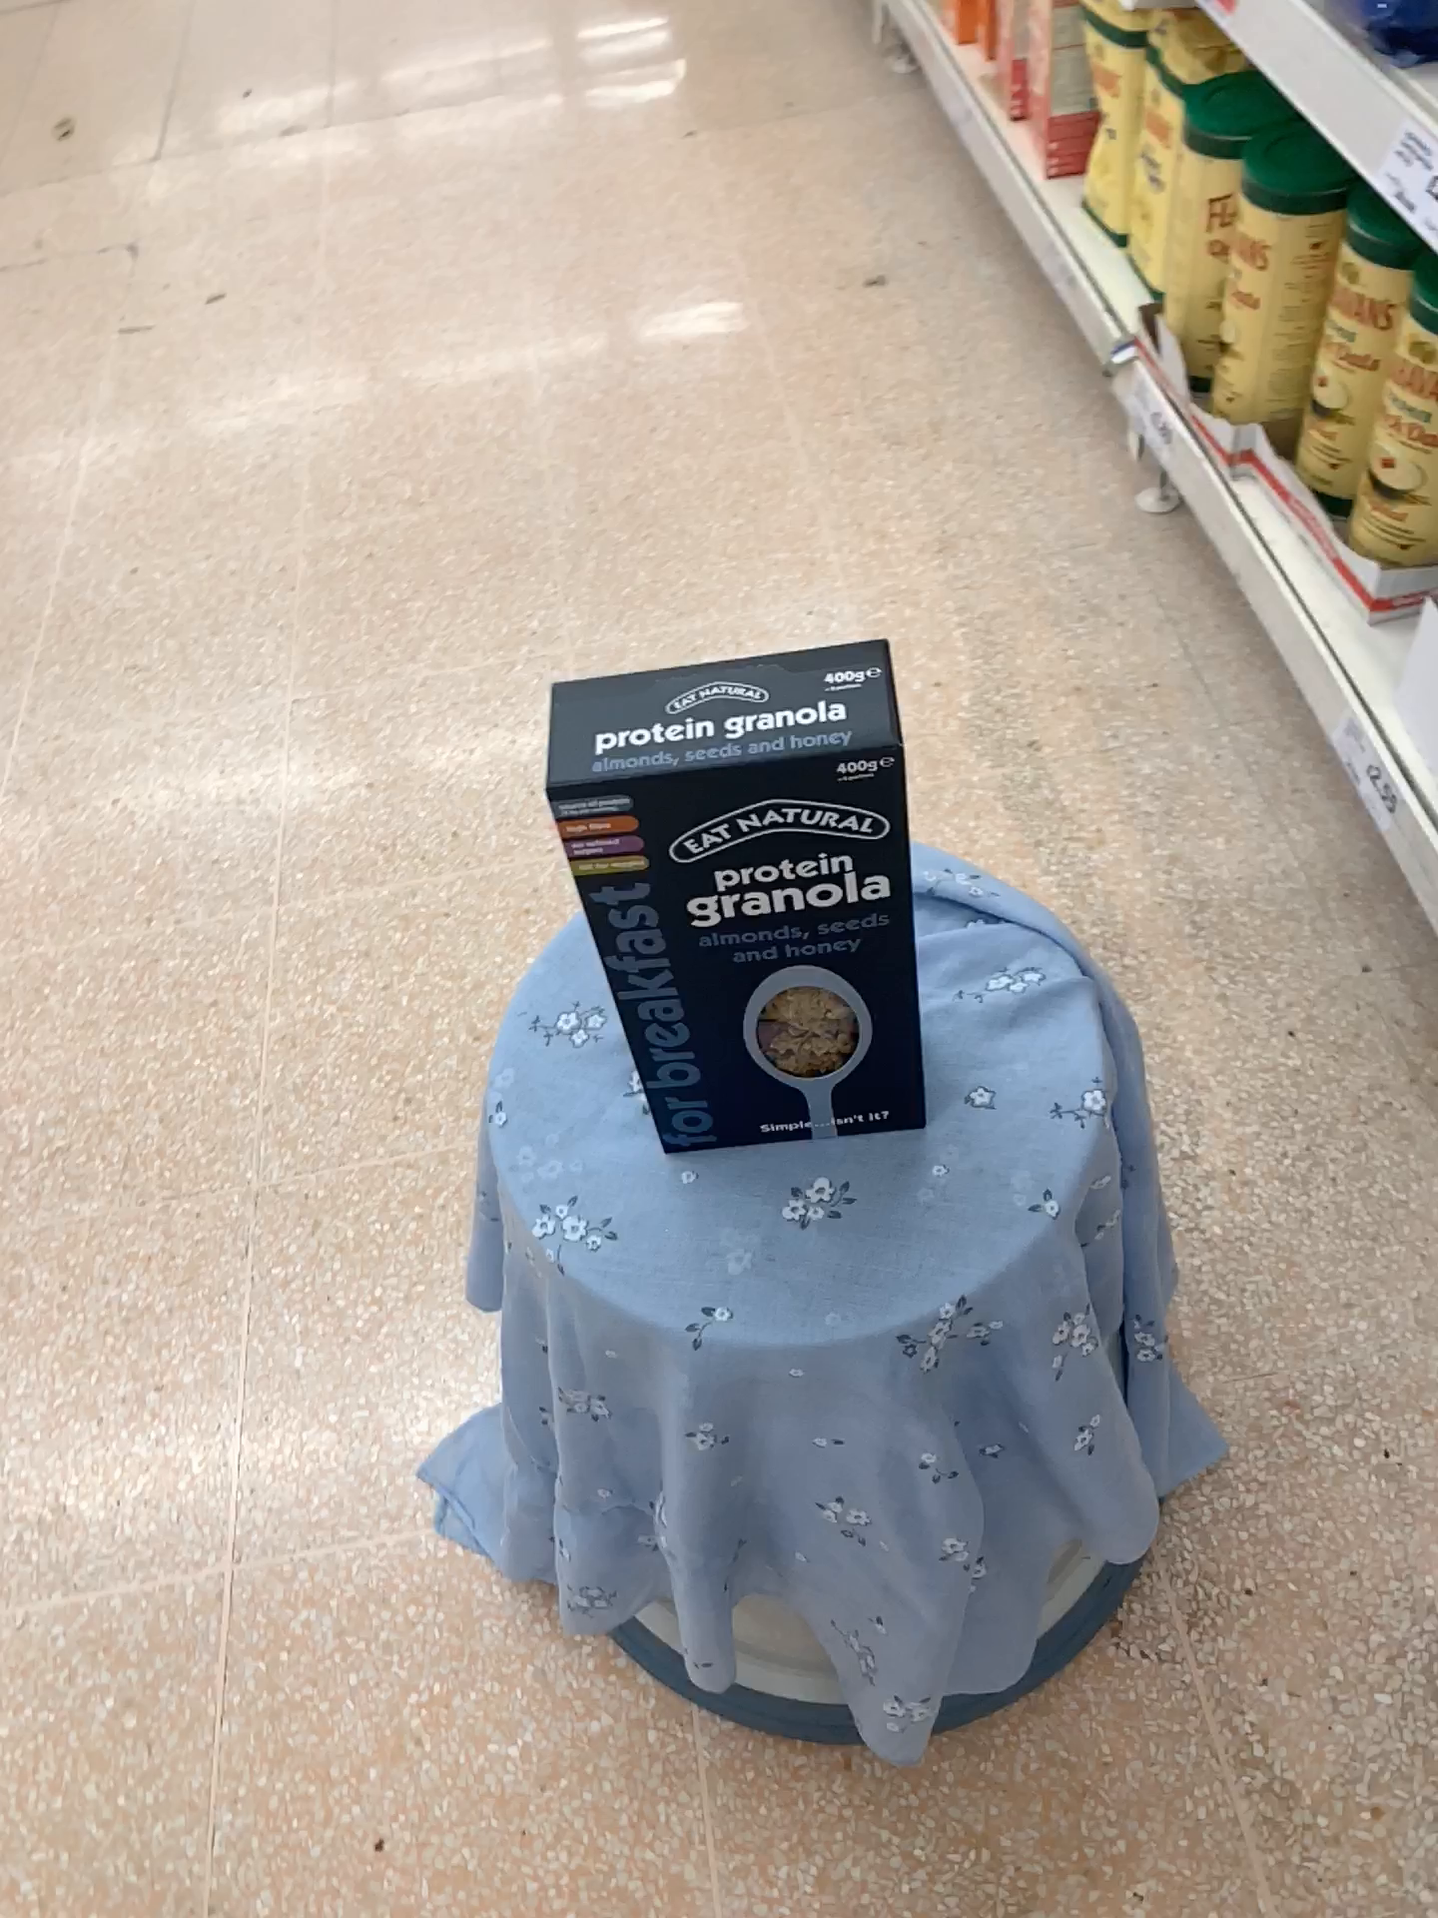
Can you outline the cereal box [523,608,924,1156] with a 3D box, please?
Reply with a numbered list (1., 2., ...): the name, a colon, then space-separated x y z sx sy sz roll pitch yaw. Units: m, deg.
1. cereal box: 0.012 -0.017 0.597 0.130 0.238 0.071 -7 52 4
